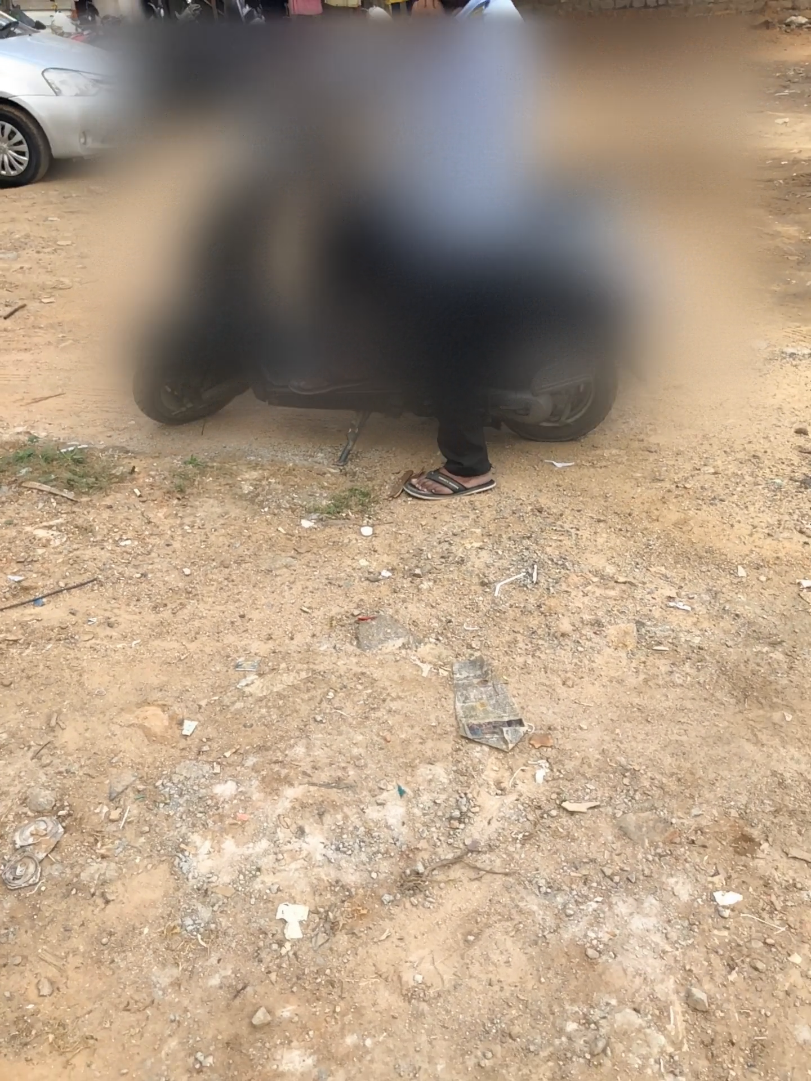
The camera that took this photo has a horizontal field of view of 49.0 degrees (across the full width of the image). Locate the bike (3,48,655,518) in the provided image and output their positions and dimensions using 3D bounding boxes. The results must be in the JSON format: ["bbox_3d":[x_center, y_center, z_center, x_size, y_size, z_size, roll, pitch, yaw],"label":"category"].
[{"bbox_3d":[-0.141,-0.698,2.555,1.522,1.102,0.578,0,32,8],"label":"bike"}]
